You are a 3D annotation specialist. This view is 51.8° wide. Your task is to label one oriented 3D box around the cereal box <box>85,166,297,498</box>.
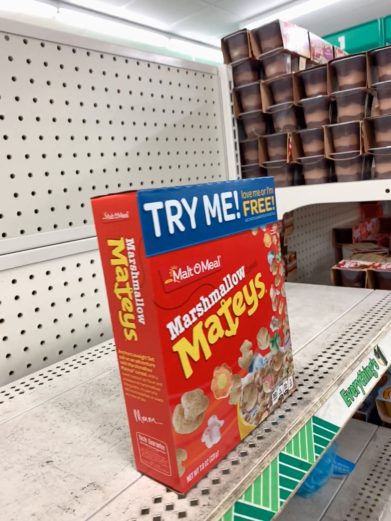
[{"bbox_3d":[0.013,0.041,0.356,0.050,0.229,0.180,1,13,43],"label":"cereal box"}]
